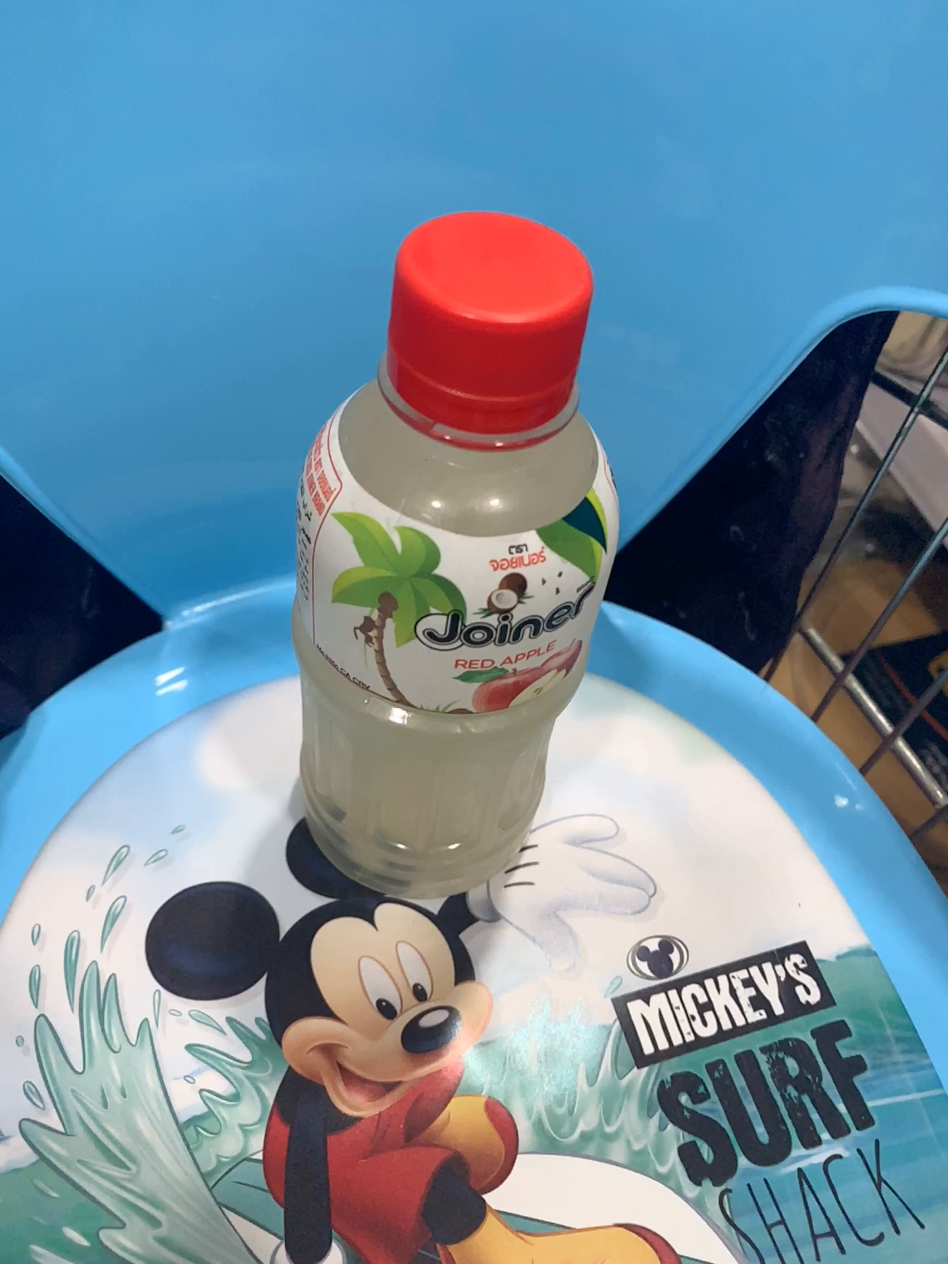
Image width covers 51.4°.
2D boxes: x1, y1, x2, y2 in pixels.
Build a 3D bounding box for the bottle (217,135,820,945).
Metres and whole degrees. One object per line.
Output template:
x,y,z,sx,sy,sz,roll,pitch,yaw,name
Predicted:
-0.002,-0.006,0.193,0.070,0.150,0.060,-9,50,-13,bottle
